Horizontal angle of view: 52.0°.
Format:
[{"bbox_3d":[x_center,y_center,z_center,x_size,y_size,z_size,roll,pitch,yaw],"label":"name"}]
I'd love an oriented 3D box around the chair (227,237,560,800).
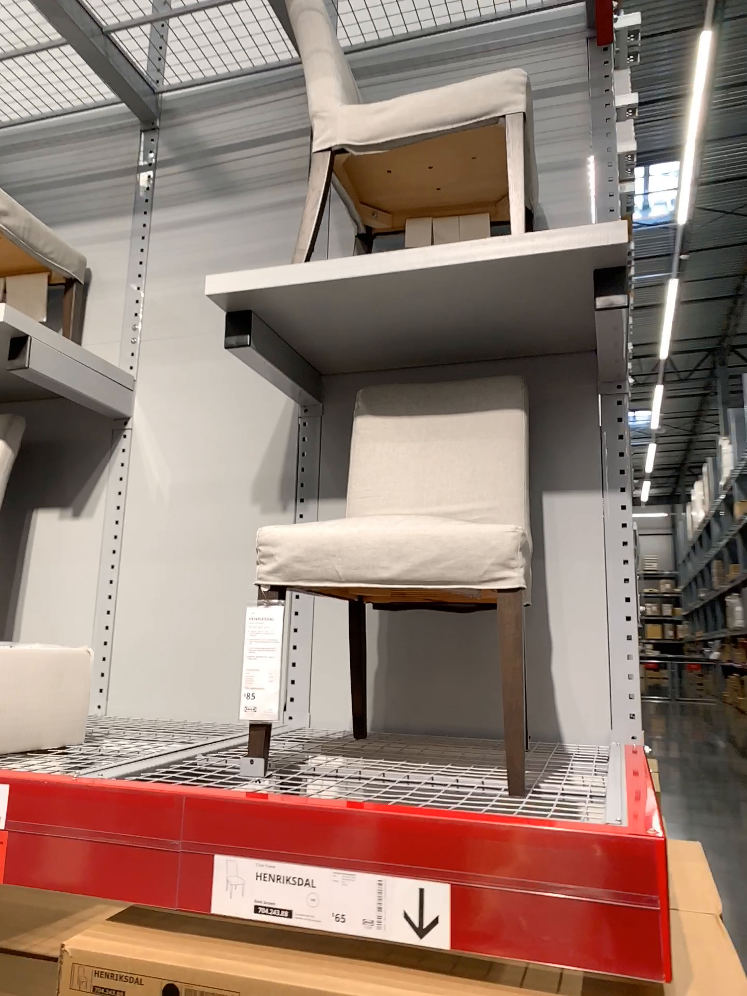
[{"bbox_3d":[0.108,0.068,1.704,0.560,0.983,0.668,-2,-12,15],"label":"chair"}]
